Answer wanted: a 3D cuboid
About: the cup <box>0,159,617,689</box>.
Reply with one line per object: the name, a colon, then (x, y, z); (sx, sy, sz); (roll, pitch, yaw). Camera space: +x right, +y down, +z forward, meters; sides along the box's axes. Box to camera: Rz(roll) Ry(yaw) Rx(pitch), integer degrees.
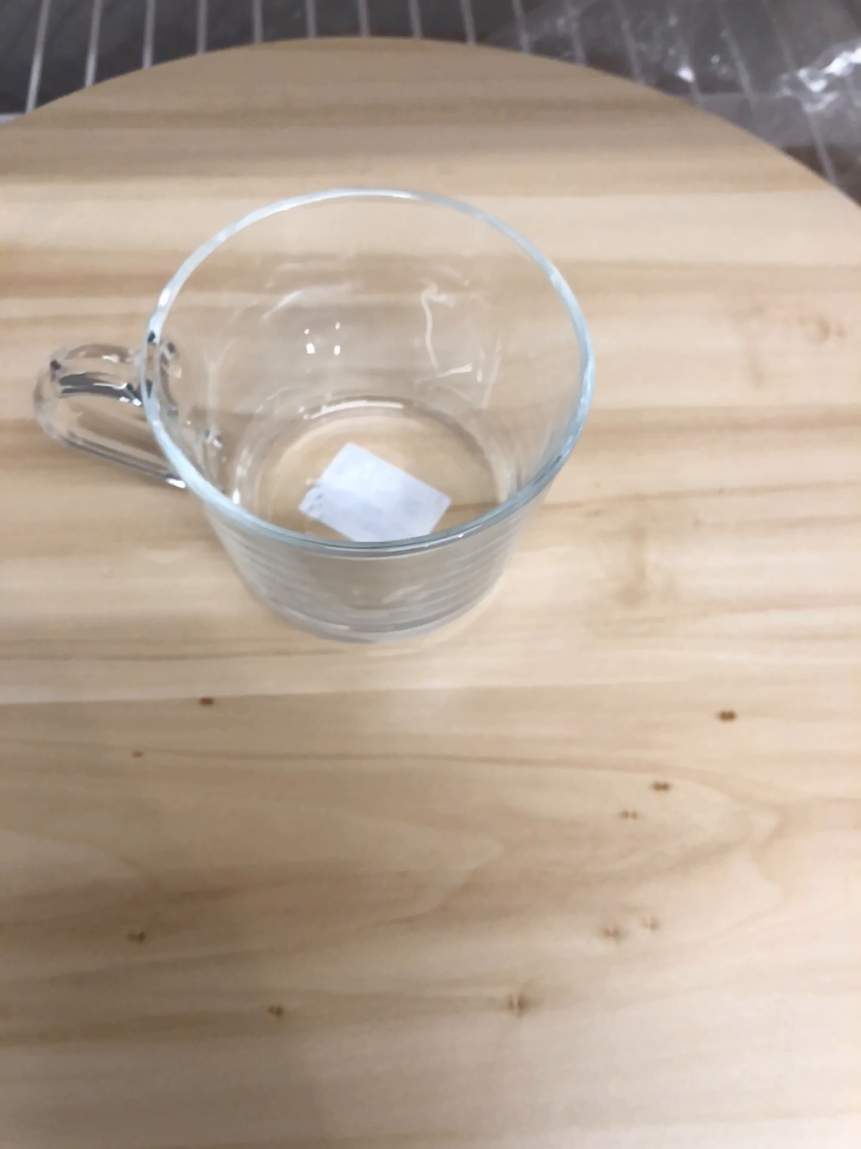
cup: (-0.025, -0.032, 0.217); (0.120, 0.060, 0.090); (4, 64, 1)
